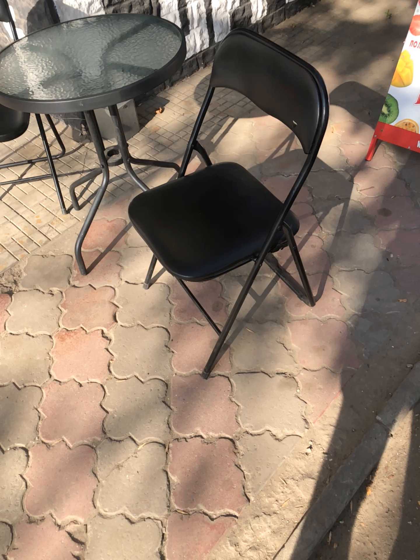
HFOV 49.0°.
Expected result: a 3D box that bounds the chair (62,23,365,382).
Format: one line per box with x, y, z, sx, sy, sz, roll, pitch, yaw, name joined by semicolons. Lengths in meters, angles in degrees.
0.015;-0.200;1.267;0.470;0.697;0.502;-28;51;-17;chair
